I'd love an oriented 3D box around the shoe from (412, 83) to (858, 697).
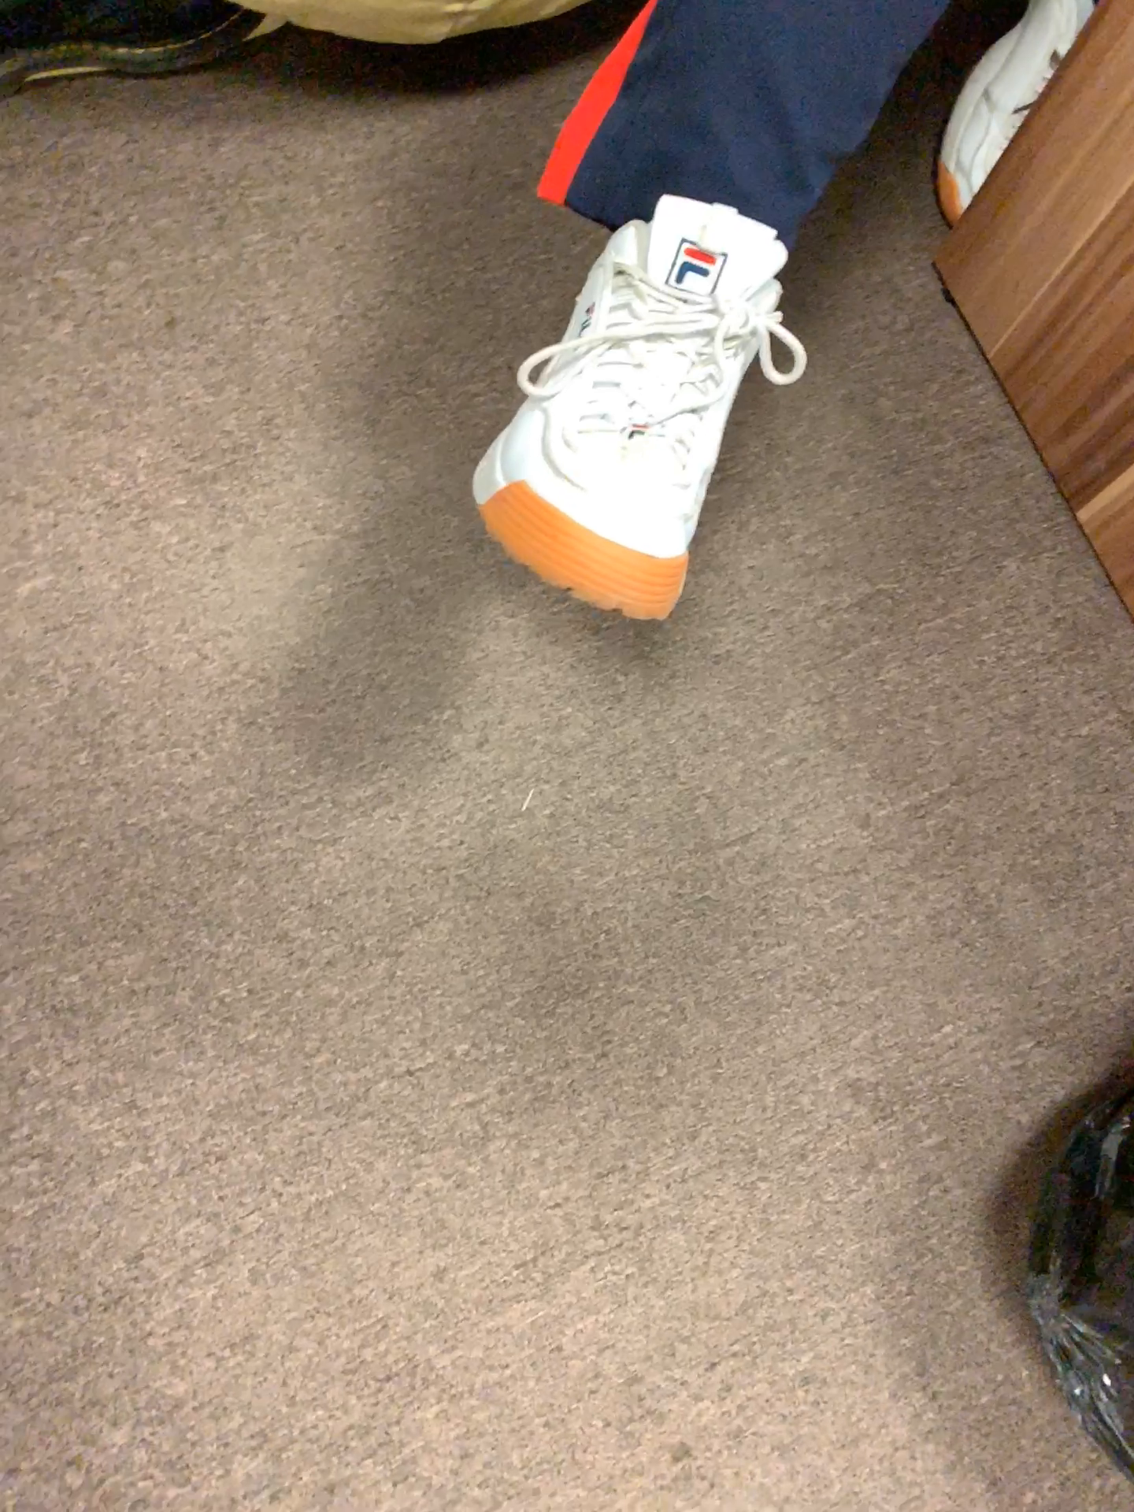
[{"bbox_3d":[0.038,-0.172,0.527,0.130,0.130,0.230,22,48,-10],"label":"shoe"}]
